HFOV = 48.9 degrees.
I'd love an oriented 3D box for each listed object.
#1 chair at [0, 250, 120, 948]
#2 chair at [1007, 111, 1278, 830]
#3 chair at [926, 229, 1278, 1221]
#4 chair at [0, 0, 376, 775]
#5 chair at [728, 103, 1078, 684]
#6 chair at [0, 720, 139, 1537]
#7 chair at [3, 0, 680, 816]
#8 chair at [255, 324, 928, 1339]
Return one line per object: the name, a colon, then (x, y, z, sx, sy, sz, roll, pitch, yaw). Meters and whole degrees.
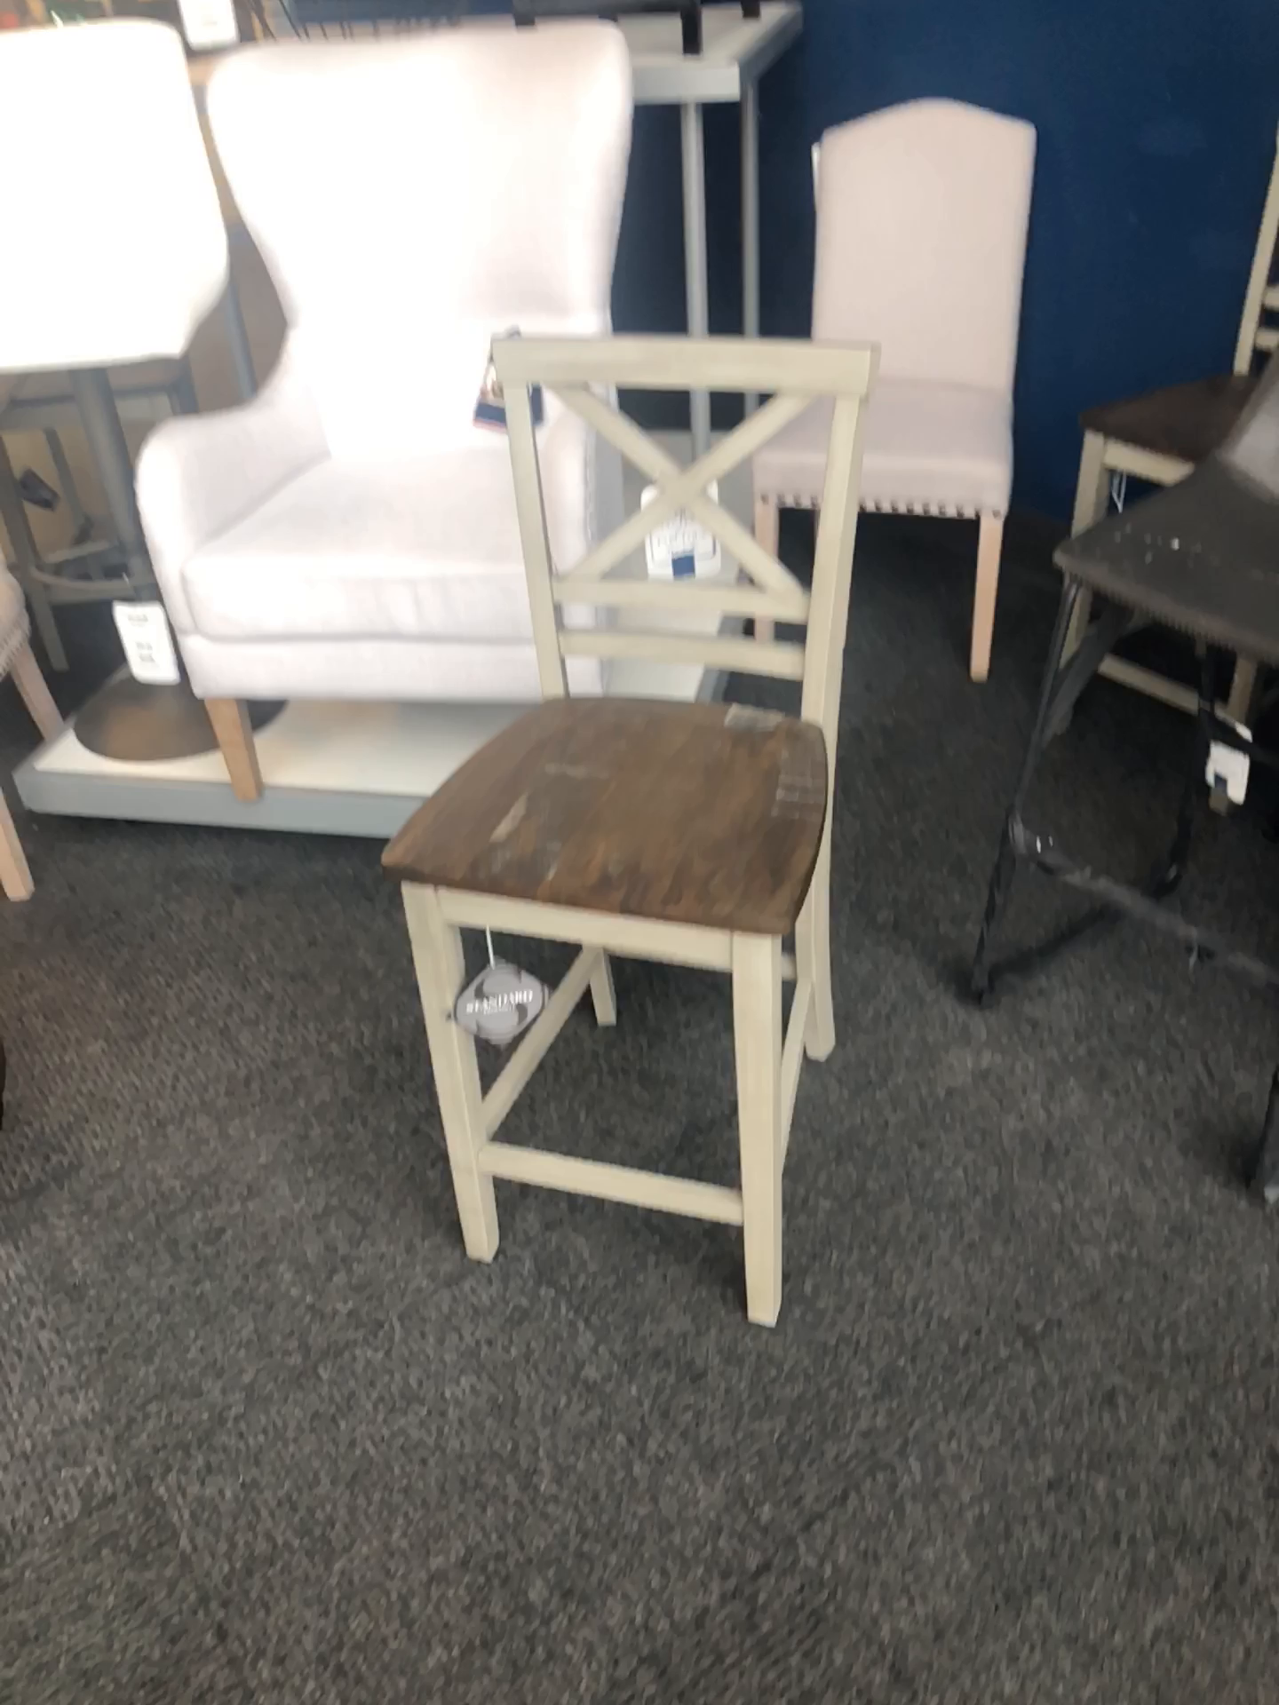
chair: (-1.300, -0.416, 2.338, 0.489, 0.944, 0.578, -6, 35, -2)
chair: (1.003, -0.622, 2.282, 0.536, 0.934, 0.471, -23, 39, -25)
chair: (0.758, -0.168, 1.700, 0.536, 0.934, 0.541, -28, 42, -30)
chair: (-0.694, -0.629, 1.971, 0.379, 0.914, 0.487, 1, 36, 7)
chair: (0.516, -0.906, 2.767, 0.519, 0.924, 0.588, 8, 37, 17)
chair: (-0.972, 0.279, 1.632, 0.519, 0.536, 0.688, -7, 35, -4)
chair: (-0.336, -0.681, 2.187, 0.689, 1.014, 0.708, 1, 36, 7)
chair: (0.017, -0.024, 1.564, 0.469, 0.934, 0.537, 8, 37, 17)
